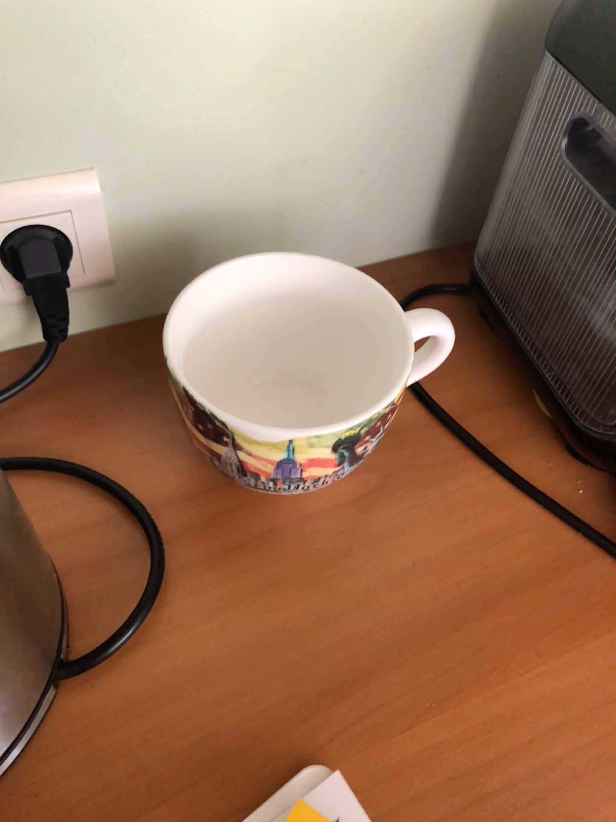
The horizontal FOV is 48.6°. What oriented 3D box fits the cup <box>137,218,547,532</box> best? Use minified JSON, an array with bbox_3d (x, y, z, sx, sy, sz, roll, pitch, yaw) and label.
[{"bbox_3d":[0.010,-0.026,0.359,0.170,0.070,0.120,-12,54,-15],"label":"cup"}]
